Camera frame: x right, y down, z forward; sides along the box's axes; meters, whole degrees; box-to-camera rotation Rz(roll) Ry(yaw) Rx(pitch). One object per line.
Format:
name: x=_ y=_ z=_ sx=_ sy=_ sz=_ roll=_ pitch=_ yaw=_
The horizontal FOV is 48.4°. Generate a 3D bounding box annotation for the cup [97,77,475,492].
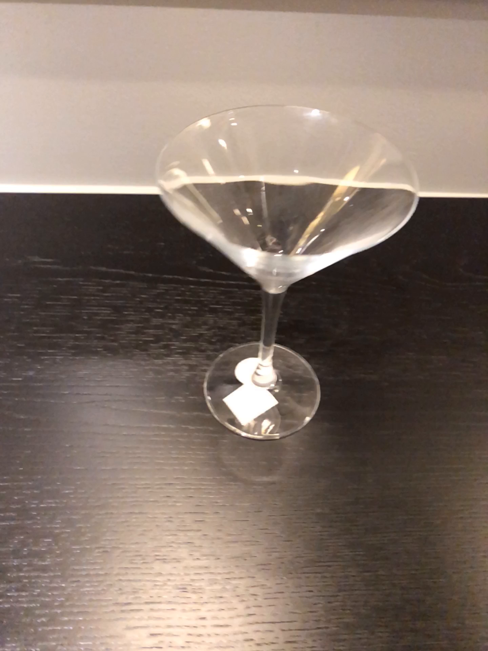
cup: x=0.017 y=-0.023 z=0.311 sx=0.130 sy=0.160 sz=0.120 roll=2 pitch=48 yaw=-2
